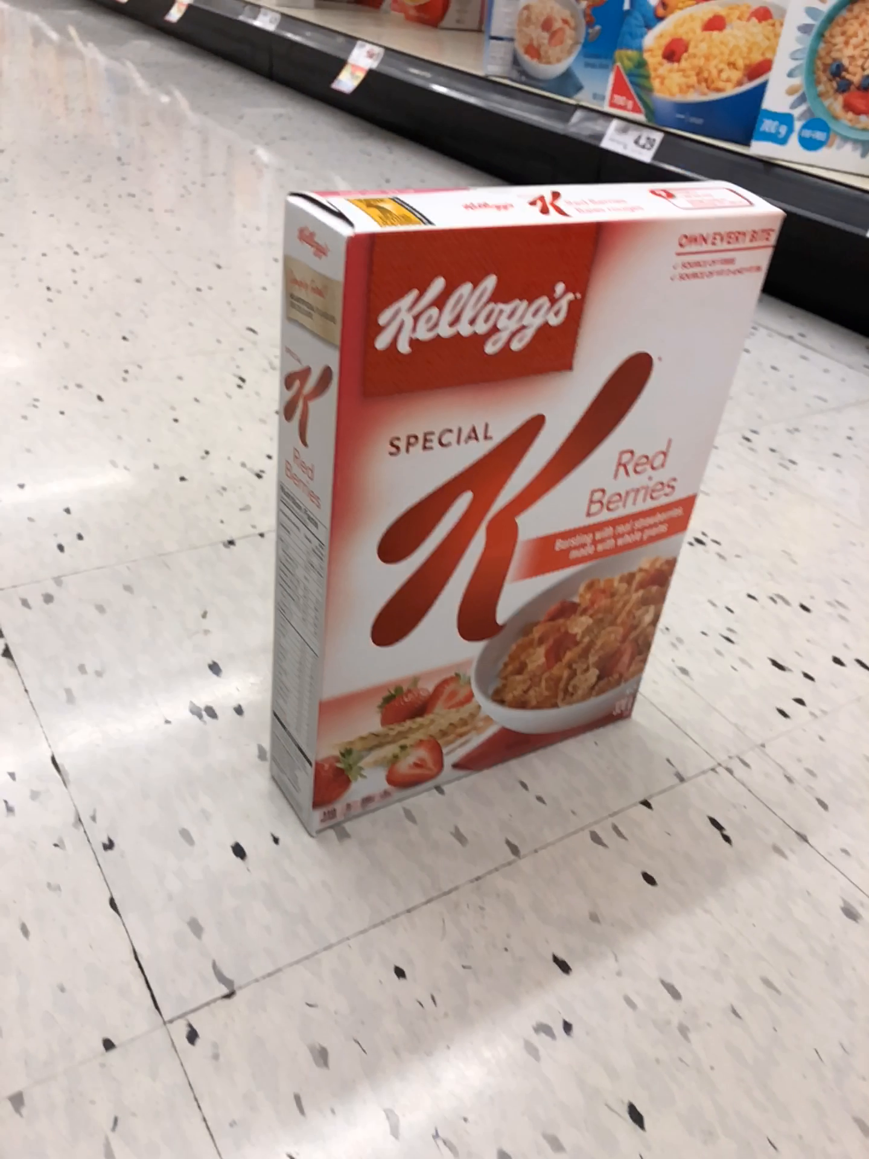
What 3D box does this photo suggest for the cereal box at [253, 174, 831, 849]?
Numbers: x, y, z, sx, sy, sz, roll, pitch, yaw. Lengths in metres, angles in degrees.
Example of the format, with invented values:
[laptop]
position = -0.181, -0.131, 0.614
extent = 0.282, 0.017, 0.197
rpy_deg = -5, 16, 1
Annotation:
[cereal box]
position = 0.034, -0.029, 0.412
extent = 0.211, 0.258, 0.060
rpy_deg = -14, 39, -29
